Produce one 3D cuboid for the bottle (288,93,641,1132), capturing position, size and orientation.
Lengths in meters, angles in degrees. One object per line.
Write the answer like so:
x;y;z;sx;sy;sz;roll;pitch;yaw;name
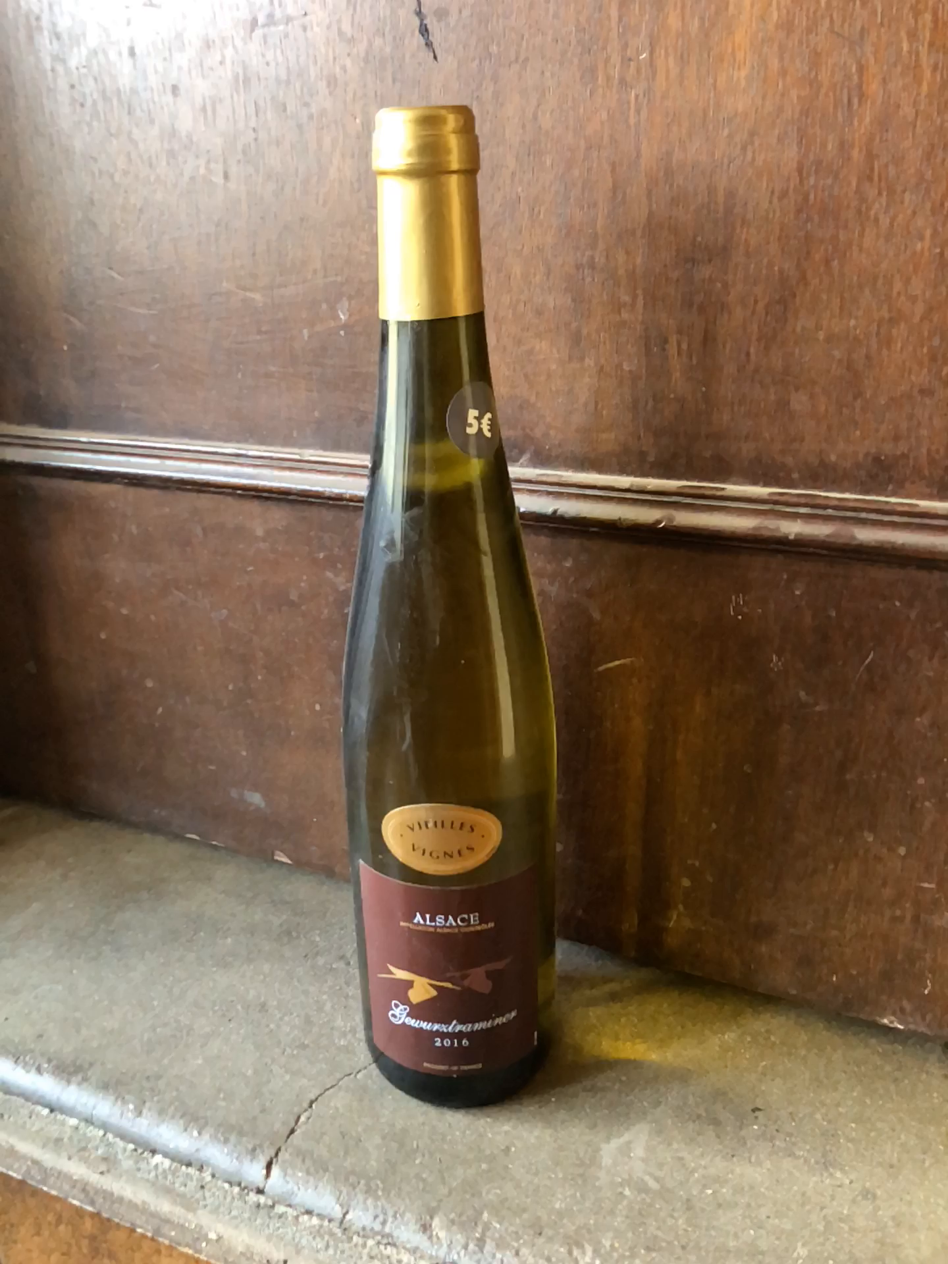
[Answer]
0.000;0.007;0.331;0.080;0.308;0.080;-1;22;1;bottle
